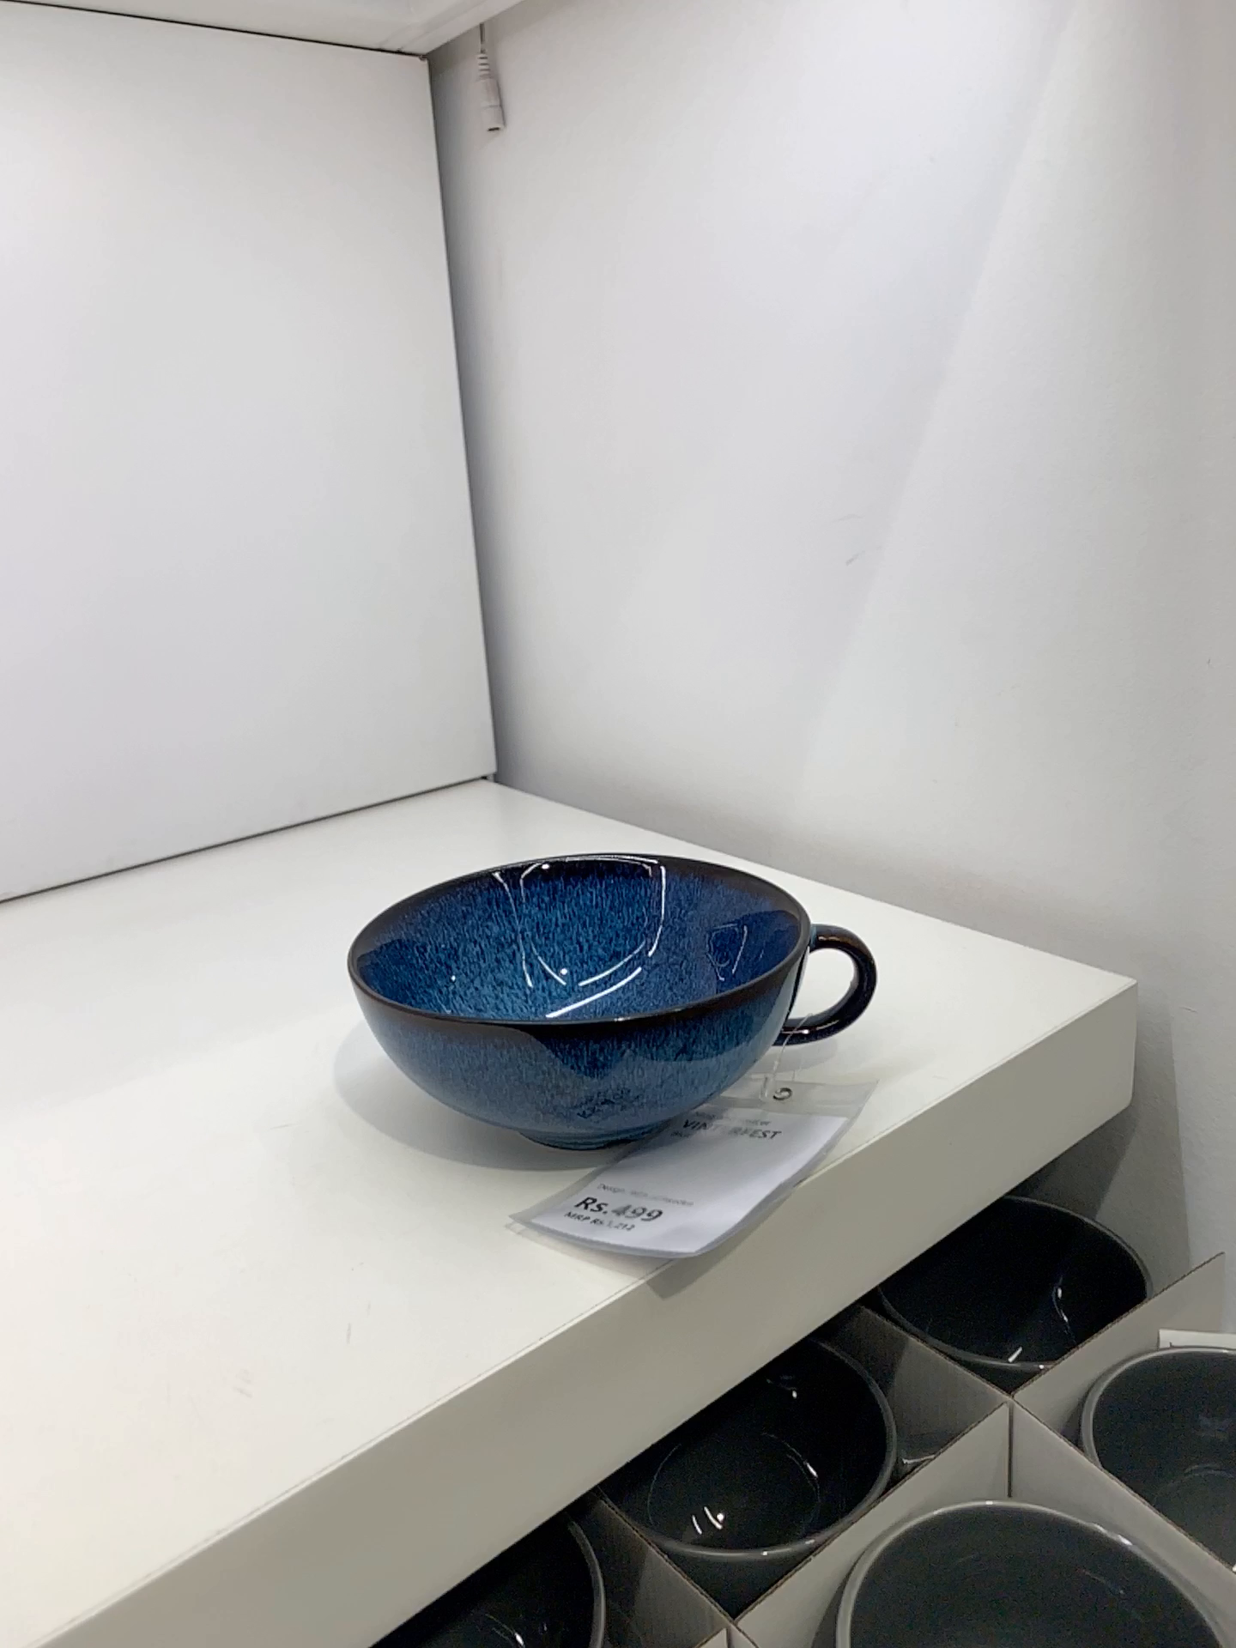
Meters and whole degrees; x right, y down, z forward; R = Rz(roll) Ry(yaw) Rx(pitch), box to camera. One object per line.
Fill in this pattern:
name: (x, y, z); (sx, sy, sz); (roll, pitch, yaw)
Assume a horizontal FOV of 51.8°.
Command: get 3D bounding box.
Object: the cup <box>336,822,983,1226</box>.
cup: (0.004, 0.049, 0.377); (0.160, 0.050, 0.130); (-6, 16, -8)
